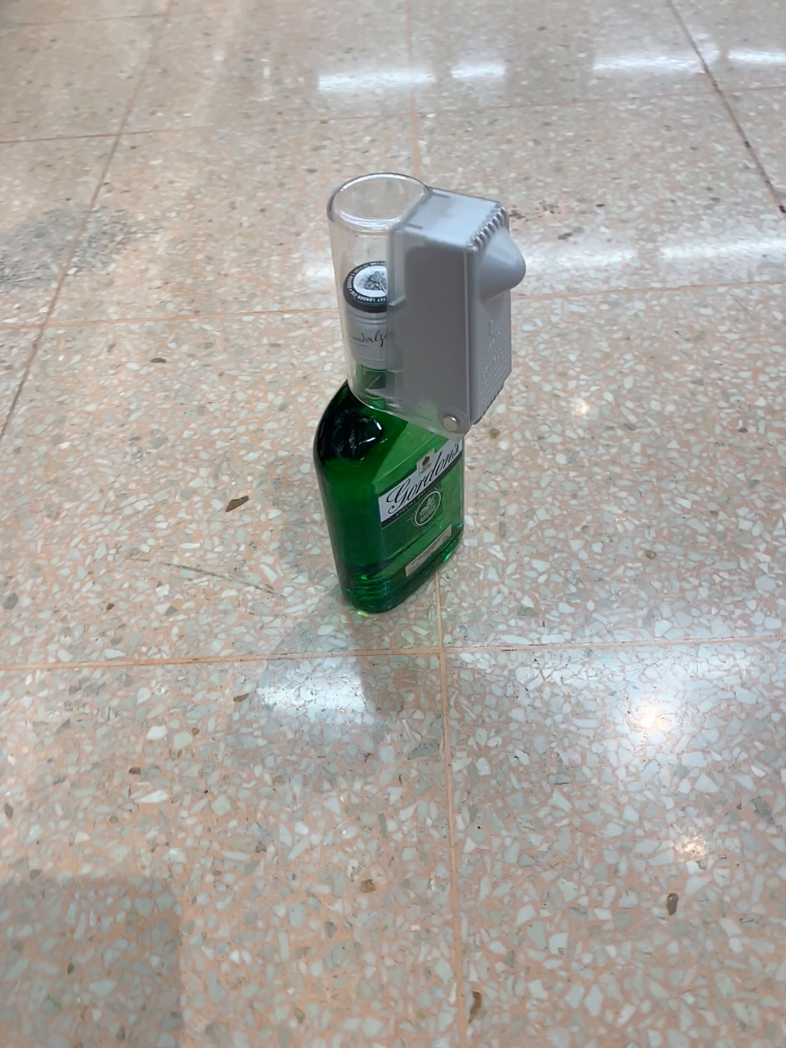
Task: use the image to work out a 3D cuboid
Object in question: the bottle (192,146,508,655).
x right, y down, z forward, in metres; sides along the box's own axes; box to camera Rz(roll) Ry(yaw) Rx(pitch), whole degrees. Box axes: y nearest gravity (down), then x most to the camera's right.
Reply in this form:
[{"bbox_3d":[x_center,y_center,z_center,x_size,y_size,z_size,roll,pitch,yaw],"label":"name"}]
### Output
[{"bbox_3d":[-0.006,-0.041,0.362,0.055,0.203,0.103,34,62,27],"label":"bottle"}]
